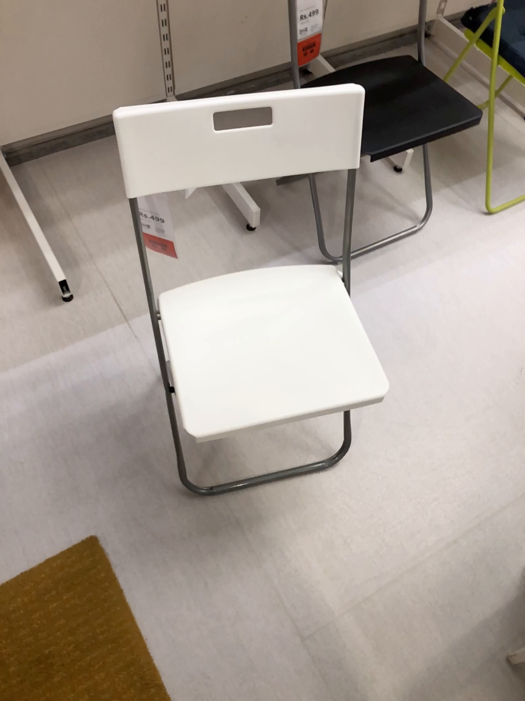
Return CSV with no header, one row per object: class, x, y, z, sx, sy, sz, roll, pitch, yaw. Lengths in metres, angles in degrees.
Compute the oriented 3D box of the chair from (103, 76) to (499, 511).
chair,0.009,-0.045,1.099,0.450,0.727,0.402,-10,60,-10
